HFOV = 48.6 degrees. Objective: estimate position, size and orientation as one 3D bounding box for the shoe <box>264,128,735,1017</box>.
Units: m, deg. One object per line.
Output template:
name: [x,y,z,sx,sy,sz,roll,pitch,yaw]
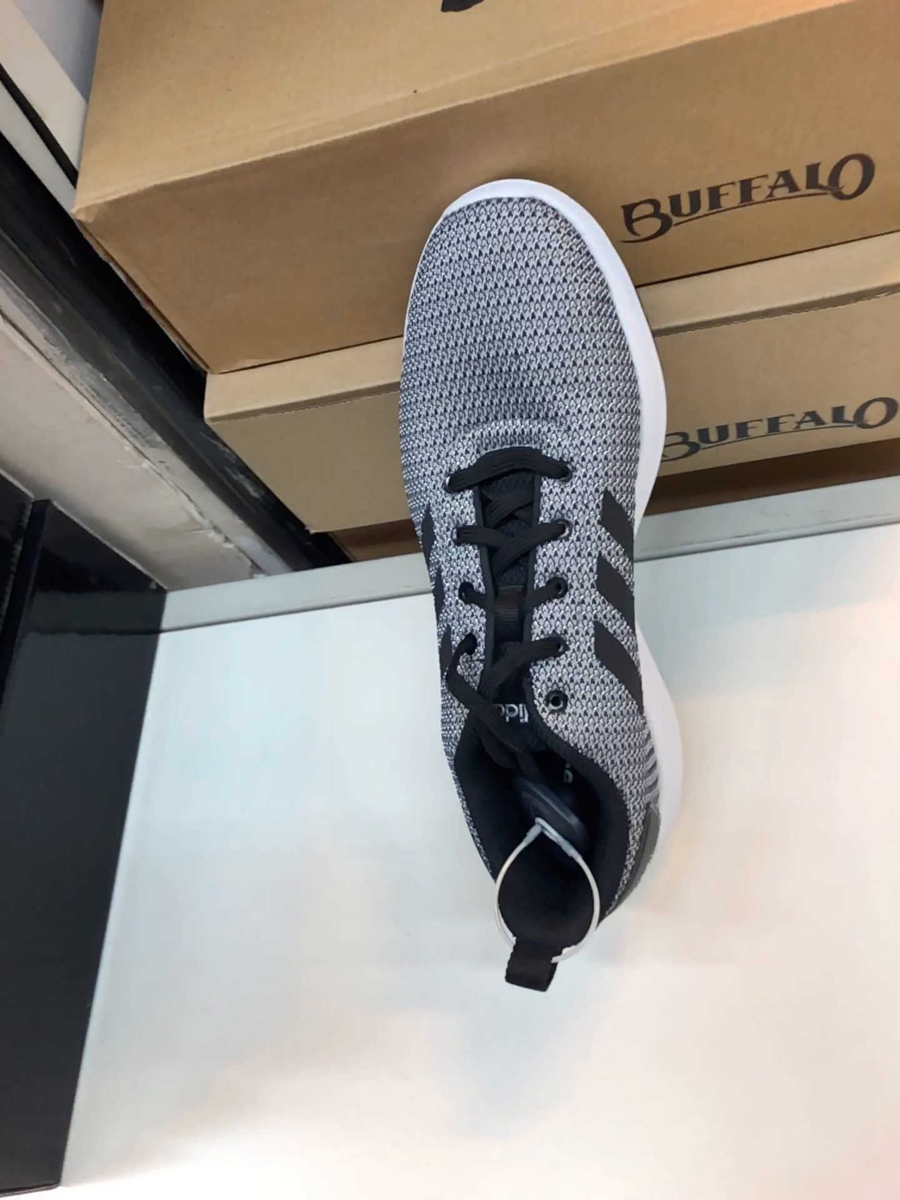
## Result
shoe: [0.030,-0.004,0.374,0.112,0.099,0.281,-5,100,22]
